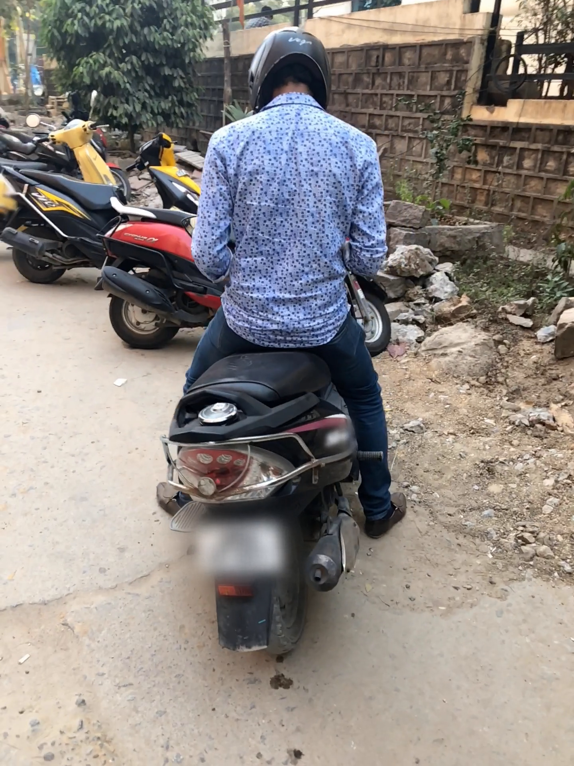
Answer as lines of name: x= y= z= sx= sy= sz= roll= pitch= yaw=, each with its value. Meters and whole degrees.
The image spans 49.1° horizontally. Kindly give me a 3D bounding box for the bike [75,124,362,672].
bike: x=-0.120 y=-0.157 z=2.049 sx=0.559 sy=1.054 sz=1.482 roll=4 pitch=27 yaw=2
